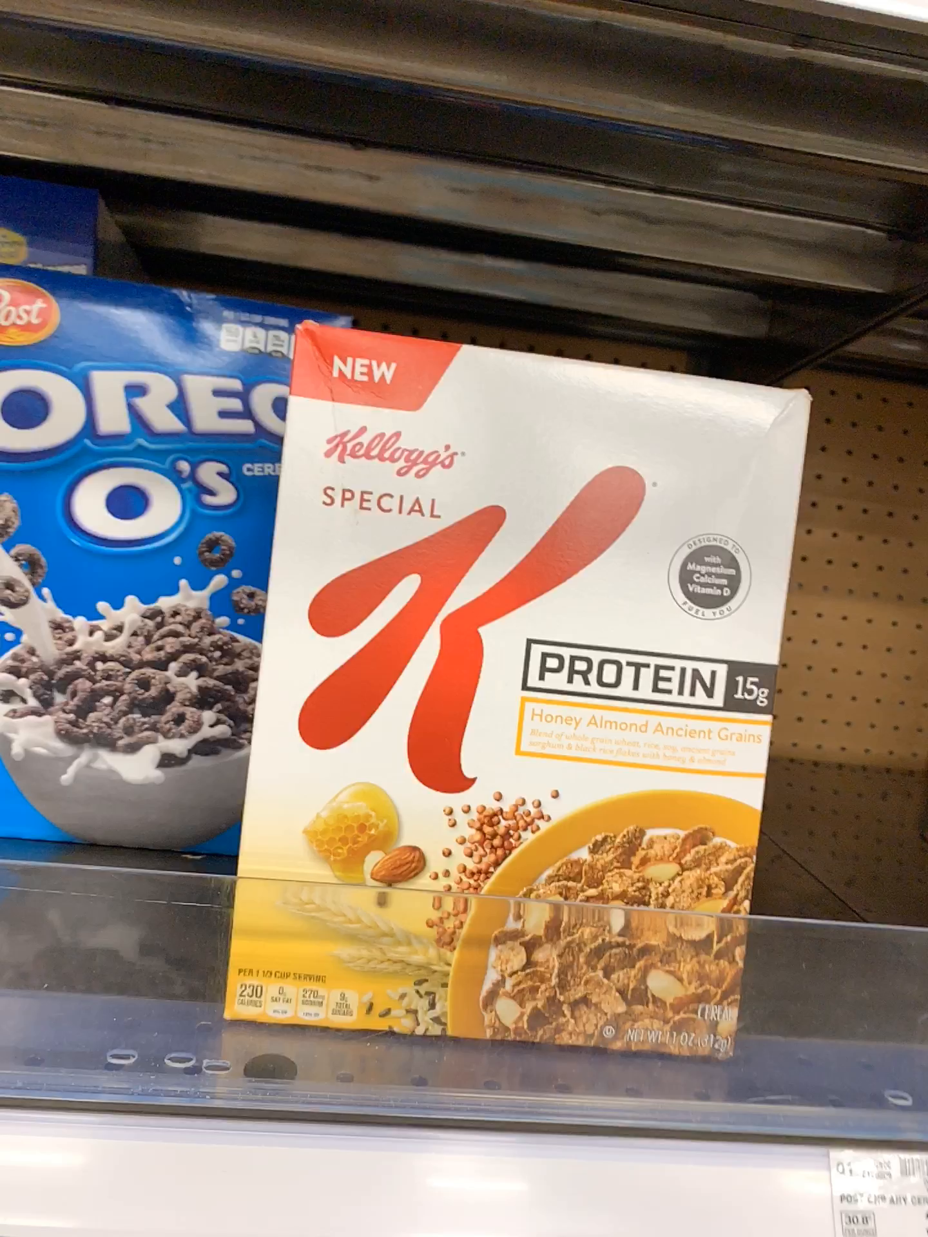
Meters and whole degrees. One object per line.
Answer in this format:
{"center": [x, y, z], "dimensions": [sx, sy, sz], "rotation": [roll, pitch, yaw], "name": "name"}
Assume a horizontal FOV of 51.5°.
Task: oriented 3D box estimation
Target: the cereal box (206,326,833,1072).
{"center": [0.020, 0.032, 0.365], "dimensions": [0.200, 0.250, 0.040], "rotation": [6, 2, -4], "name": "cereal box"}
